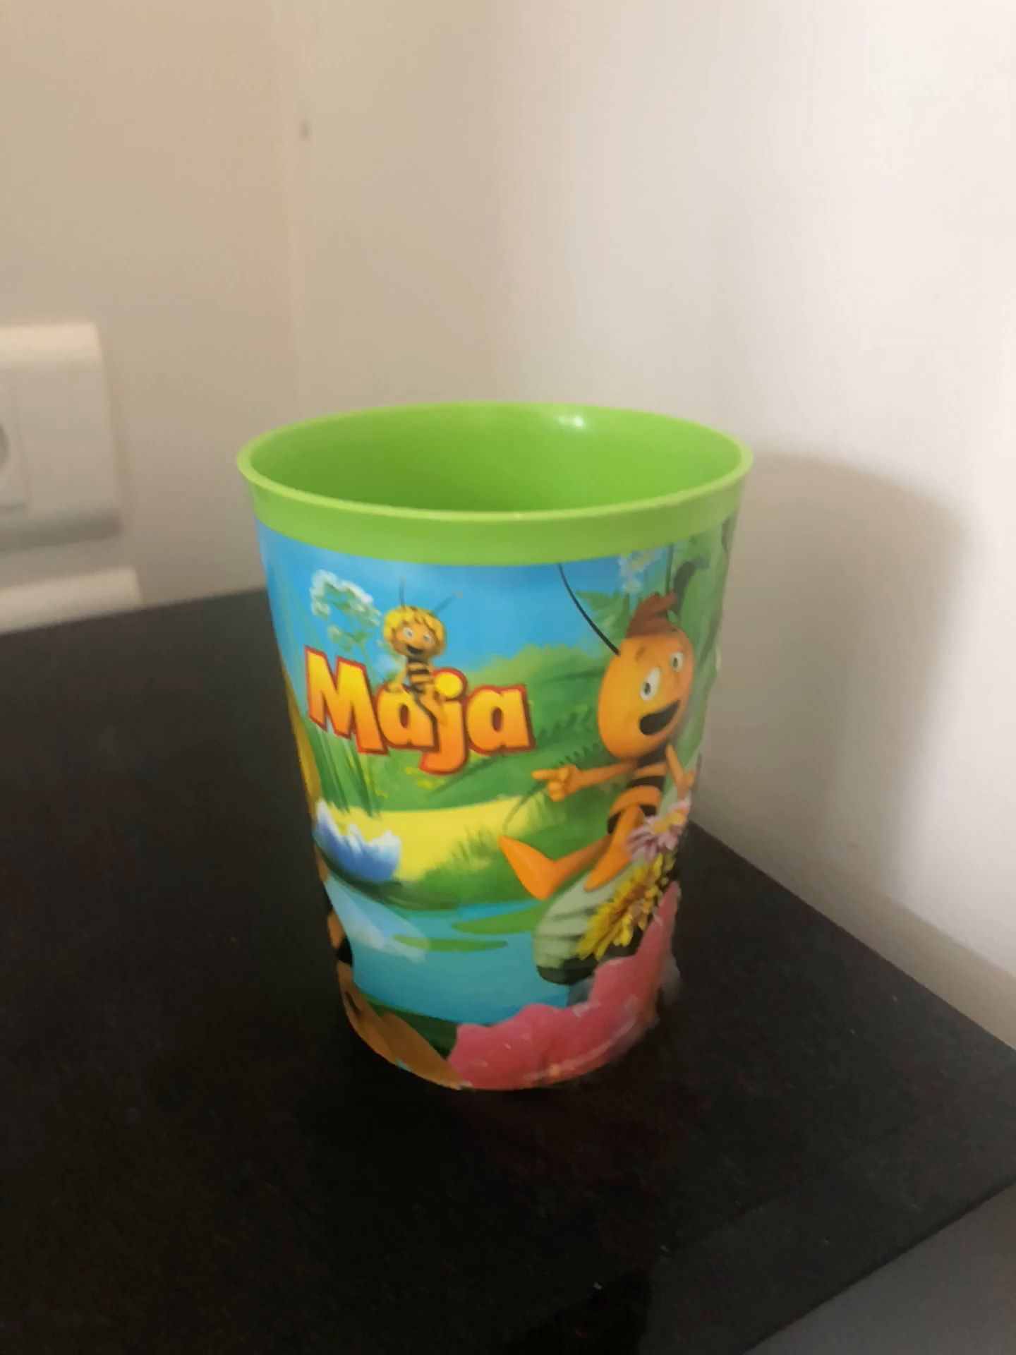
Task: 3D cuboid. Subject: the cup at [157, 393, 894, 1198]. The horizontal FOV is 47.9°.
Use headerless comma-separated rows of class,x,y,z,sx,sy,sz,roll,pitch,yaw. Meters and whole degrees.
cup,0.000,0.008,0.190,0.080,0.090,0.080,0,23,0
